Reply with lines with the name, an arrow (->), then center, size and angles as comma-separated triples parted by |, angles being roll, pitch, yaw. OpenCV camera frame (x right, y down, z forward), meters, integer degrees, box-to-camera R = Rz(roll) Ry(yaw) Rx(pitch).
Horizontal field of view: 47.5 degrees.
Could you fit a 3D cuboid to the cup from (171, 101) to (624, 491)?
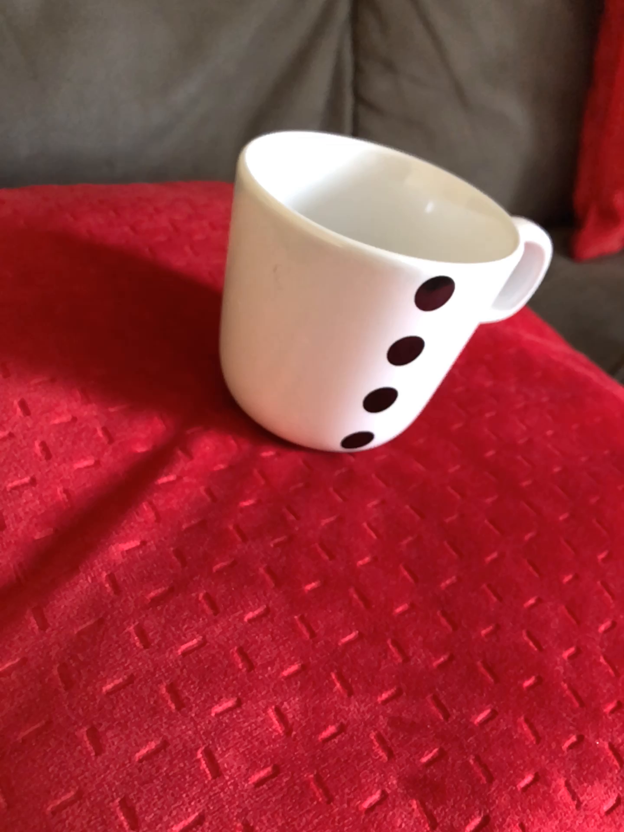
cup -> 0.024, -0.040, 0.228 | 0.110, 0.080, 0.080 | -6, 43, -27
